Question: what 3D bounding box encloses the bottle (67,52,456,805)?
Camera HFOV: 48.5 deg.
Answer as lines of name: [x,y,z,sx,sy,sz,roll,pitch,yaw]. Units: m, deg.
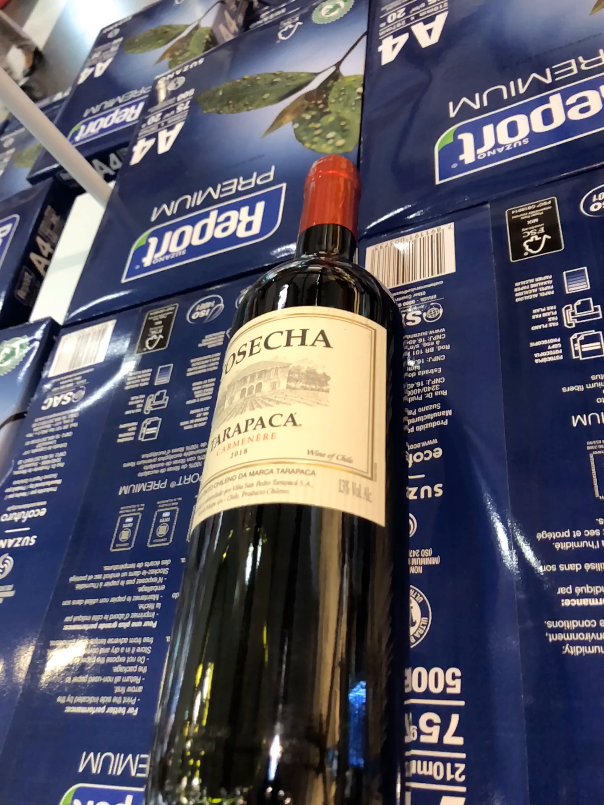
bottle: [0.006,-0.014,0.267,0.080,0.060,0.331,-12,50,23]
